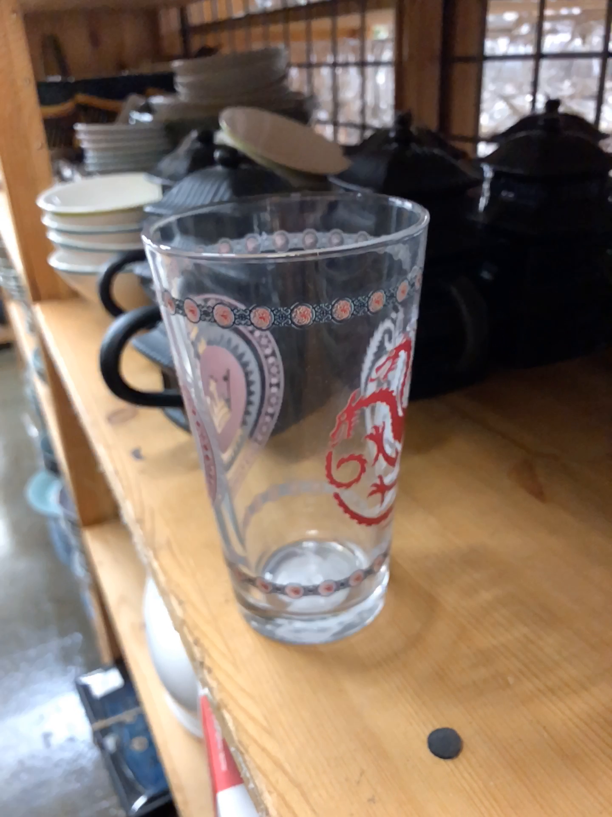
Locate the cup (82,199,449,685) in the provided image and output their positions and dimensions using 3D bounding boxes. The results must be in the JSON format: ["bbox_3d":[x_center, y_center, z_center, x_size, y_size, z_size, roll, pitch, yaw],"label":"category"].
[{"bbox_3d":[-0.003,0.004,0.237,0.084,0.132,0.085,-3,26,1],"label":"cup"}]
